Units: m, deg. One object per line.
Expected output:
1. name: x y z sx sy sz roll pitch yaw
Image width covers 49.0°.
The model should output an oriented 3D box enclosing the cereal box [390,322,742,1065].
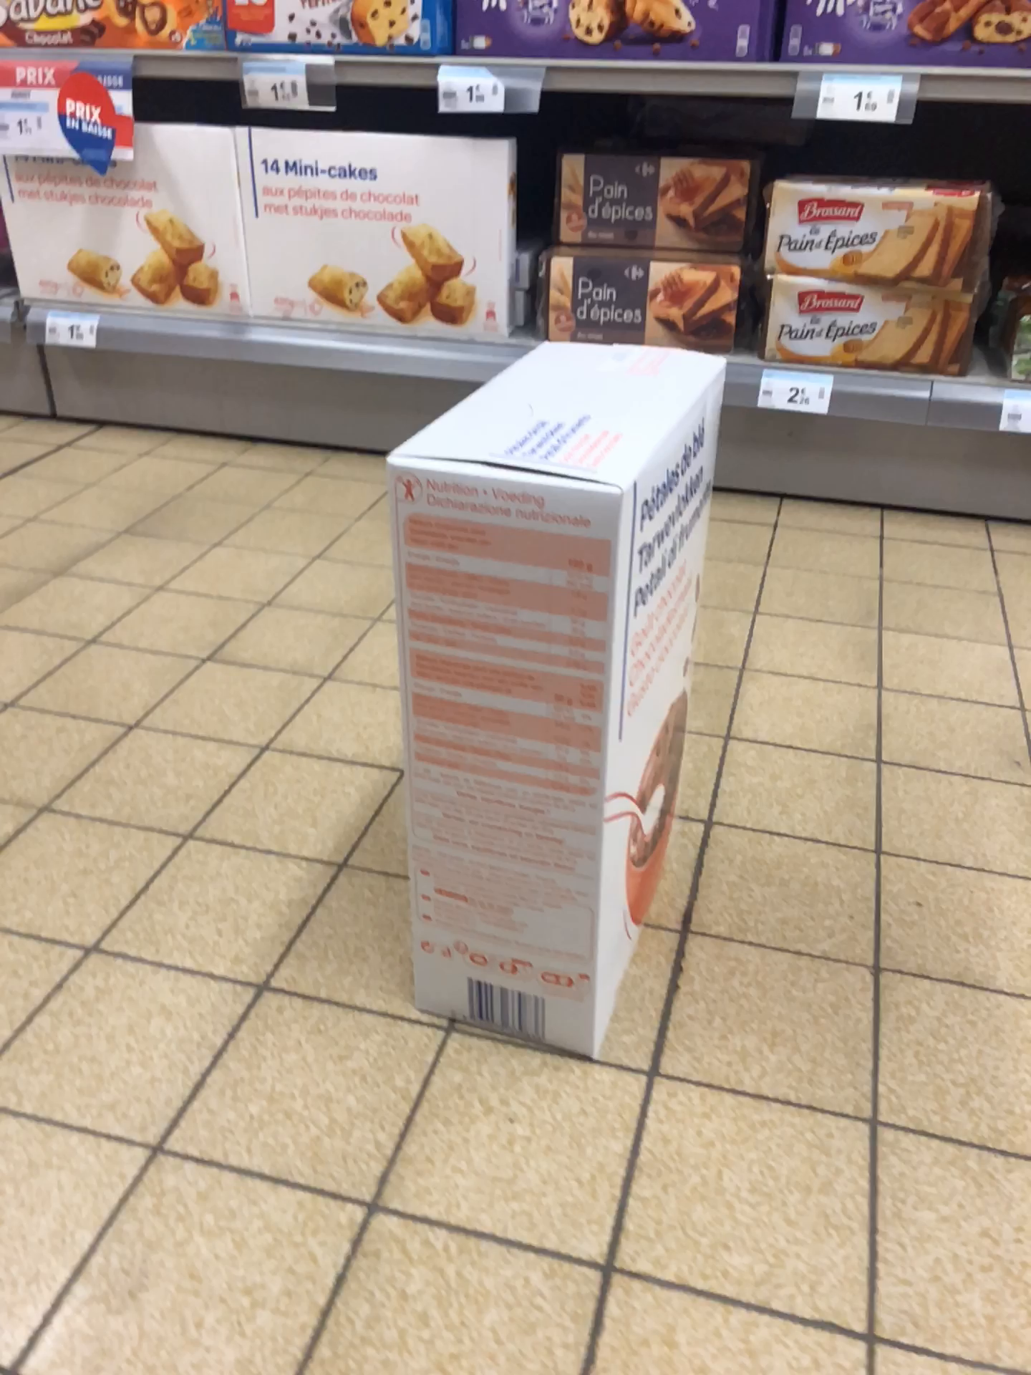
1. cereal box: 0.030 -0.006 0.553 0.100 0.288 0.201 10 31 15
